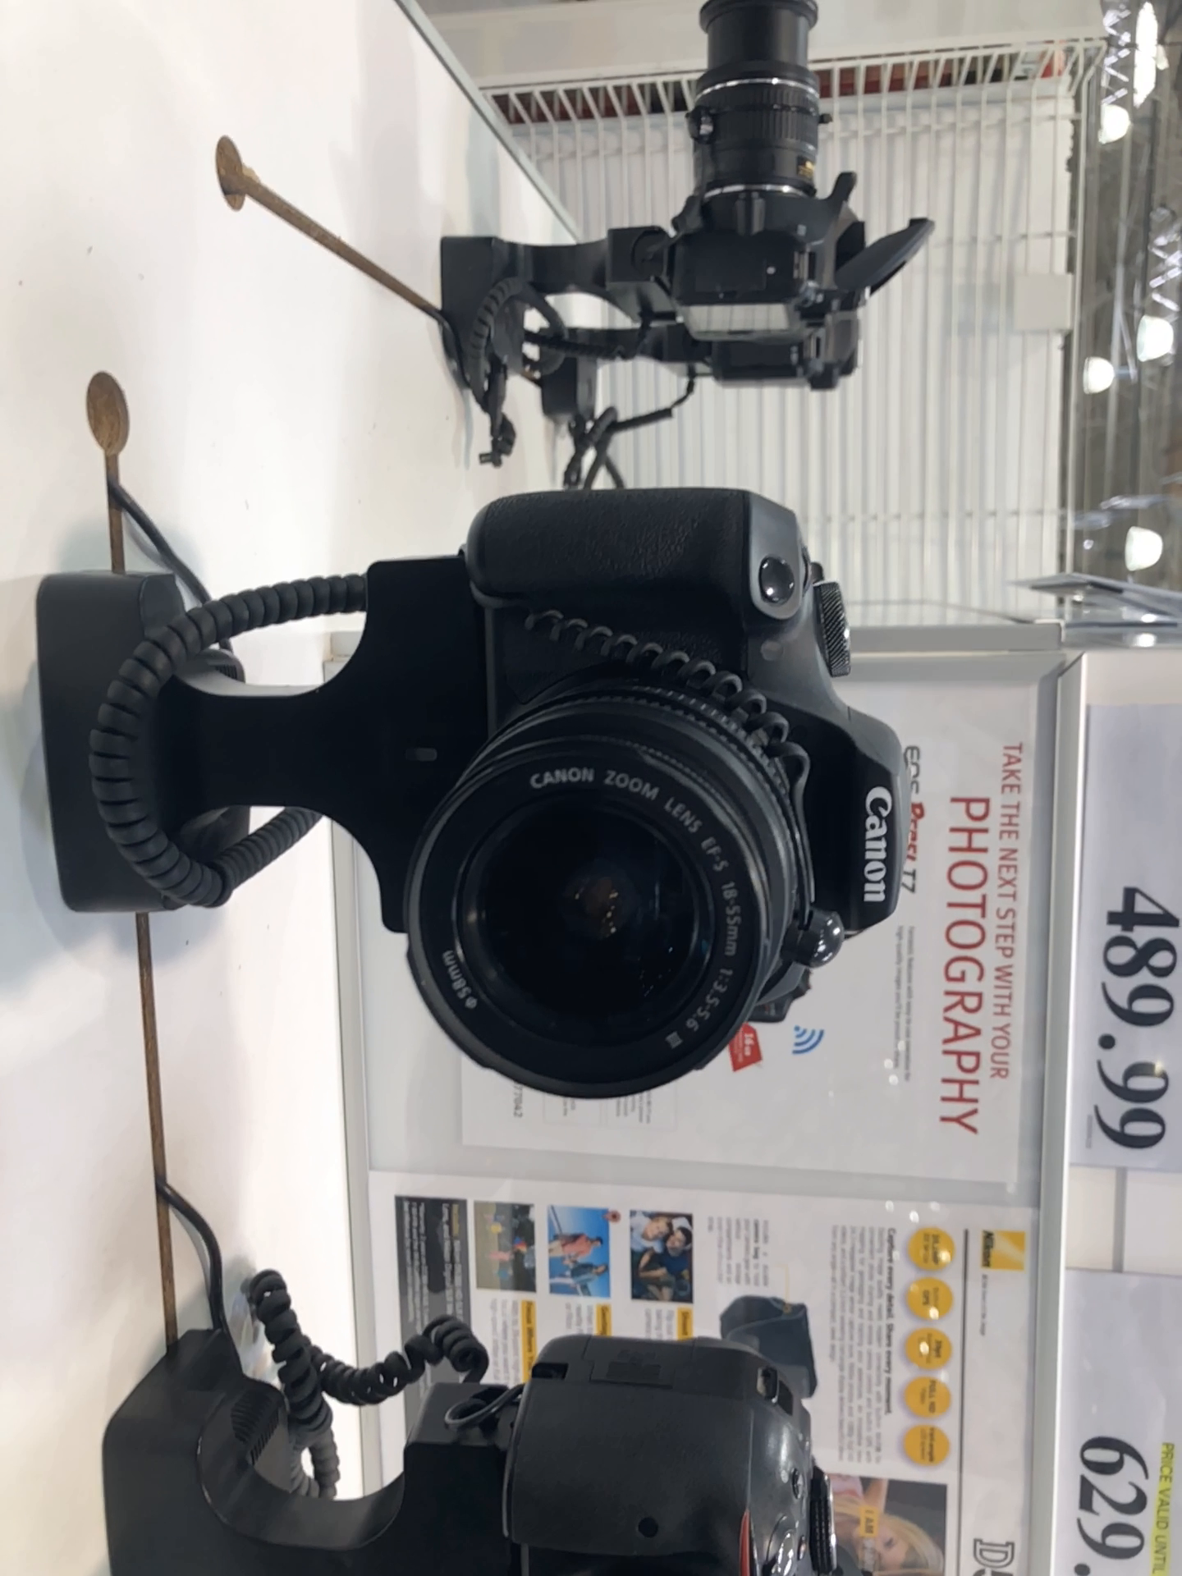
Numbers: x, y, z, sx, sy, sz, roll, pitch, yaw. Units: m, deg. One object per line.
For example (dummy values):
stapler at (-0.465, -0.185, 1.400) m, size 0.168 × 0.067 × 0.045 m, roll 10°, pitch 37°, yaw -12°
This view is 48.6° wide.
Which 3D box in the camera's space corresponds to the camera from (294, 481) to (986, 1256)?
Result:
camera at (0.019, 0.000, 0.293) m, size 0.150 × 0.110 × 0.130 m, roll -52°, pitch 142°, yaw -75°
